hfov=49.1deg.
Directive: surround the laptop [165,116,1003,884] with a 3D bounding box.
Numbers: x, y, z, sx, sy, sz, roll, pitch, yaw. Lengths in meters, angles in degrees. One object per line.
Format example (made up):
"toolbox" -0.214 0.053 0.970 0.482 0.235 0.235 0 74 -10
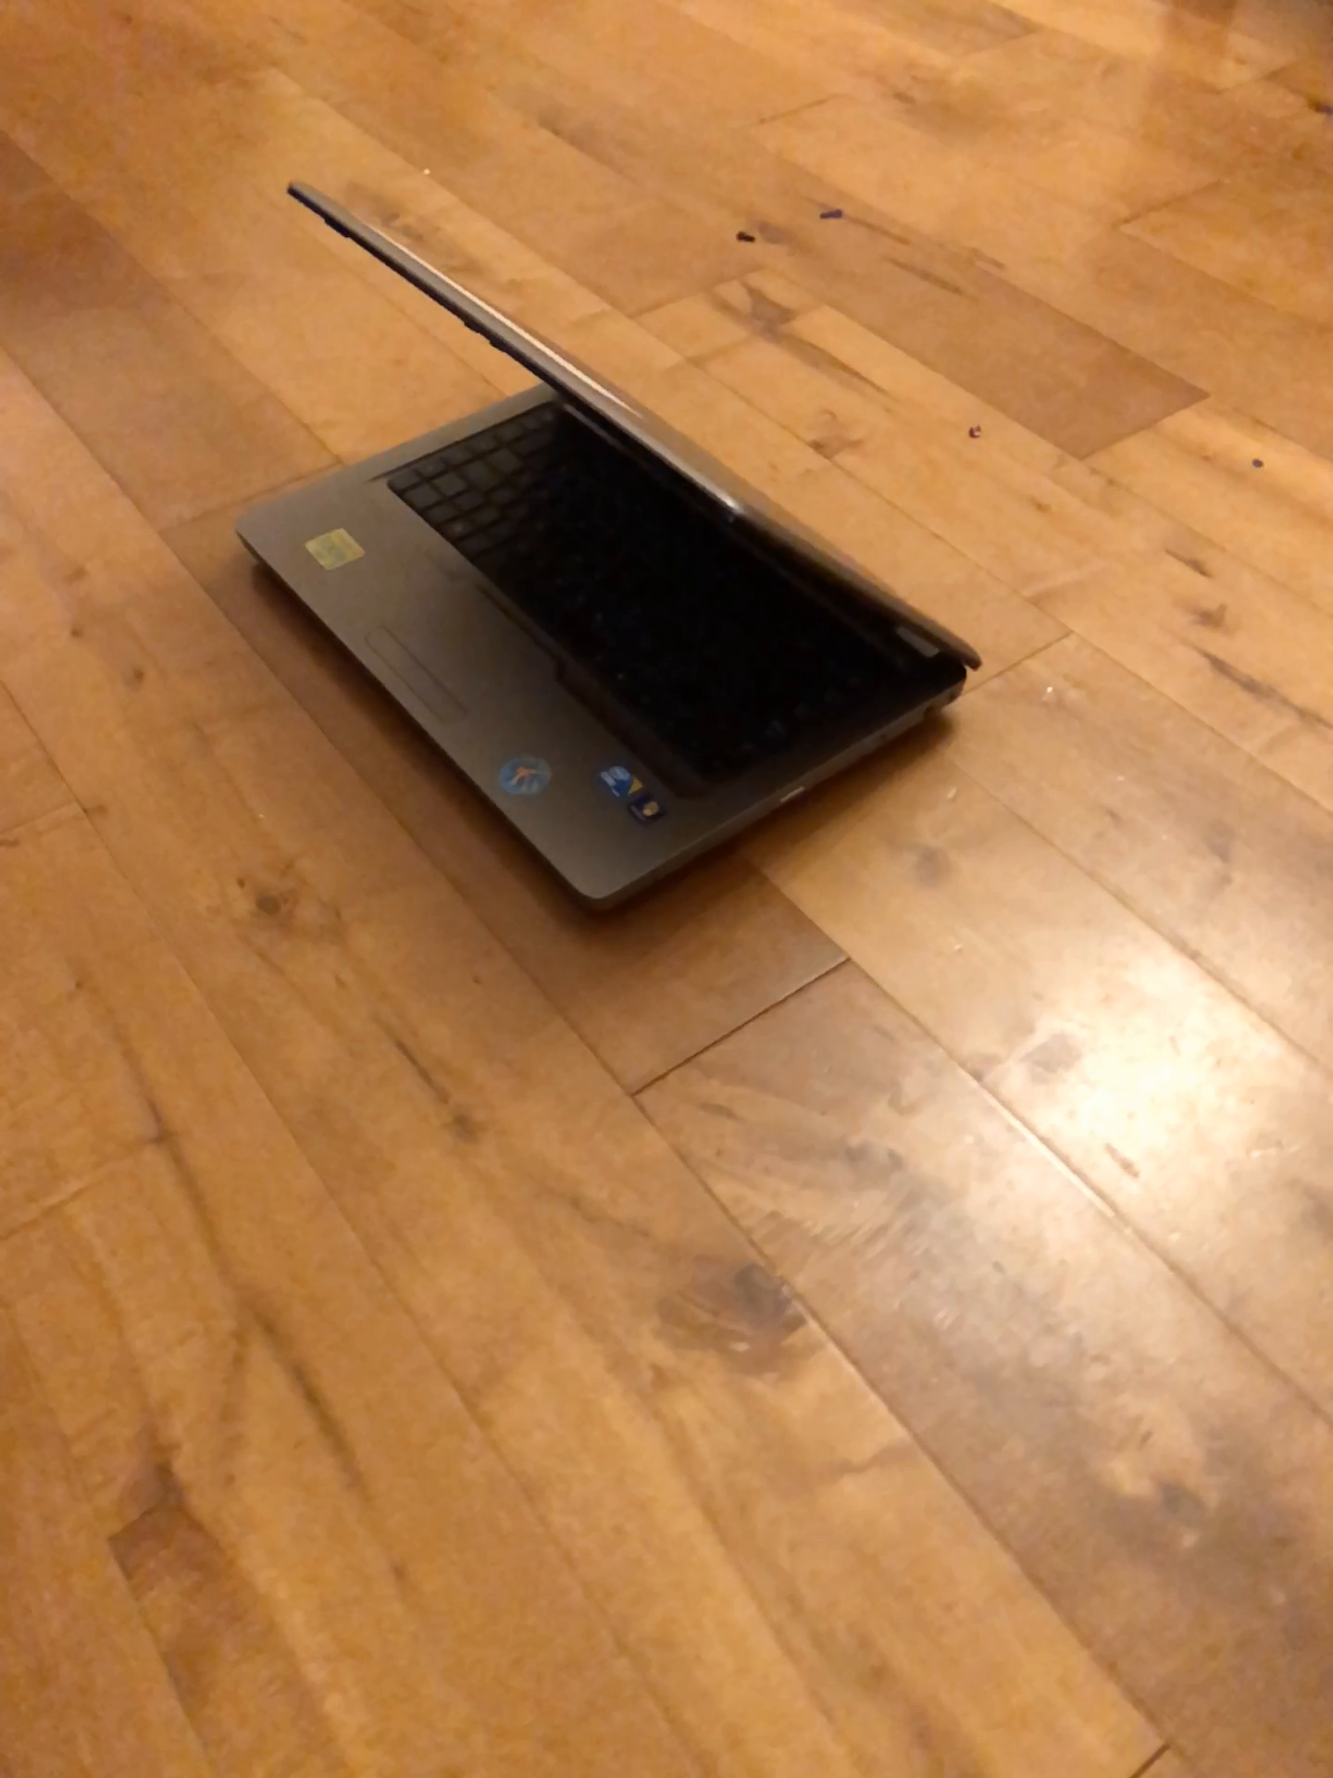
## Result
"laptop" -0.052 -0.213 0.734 0.223 0.164 0.348 -31 56 -21
